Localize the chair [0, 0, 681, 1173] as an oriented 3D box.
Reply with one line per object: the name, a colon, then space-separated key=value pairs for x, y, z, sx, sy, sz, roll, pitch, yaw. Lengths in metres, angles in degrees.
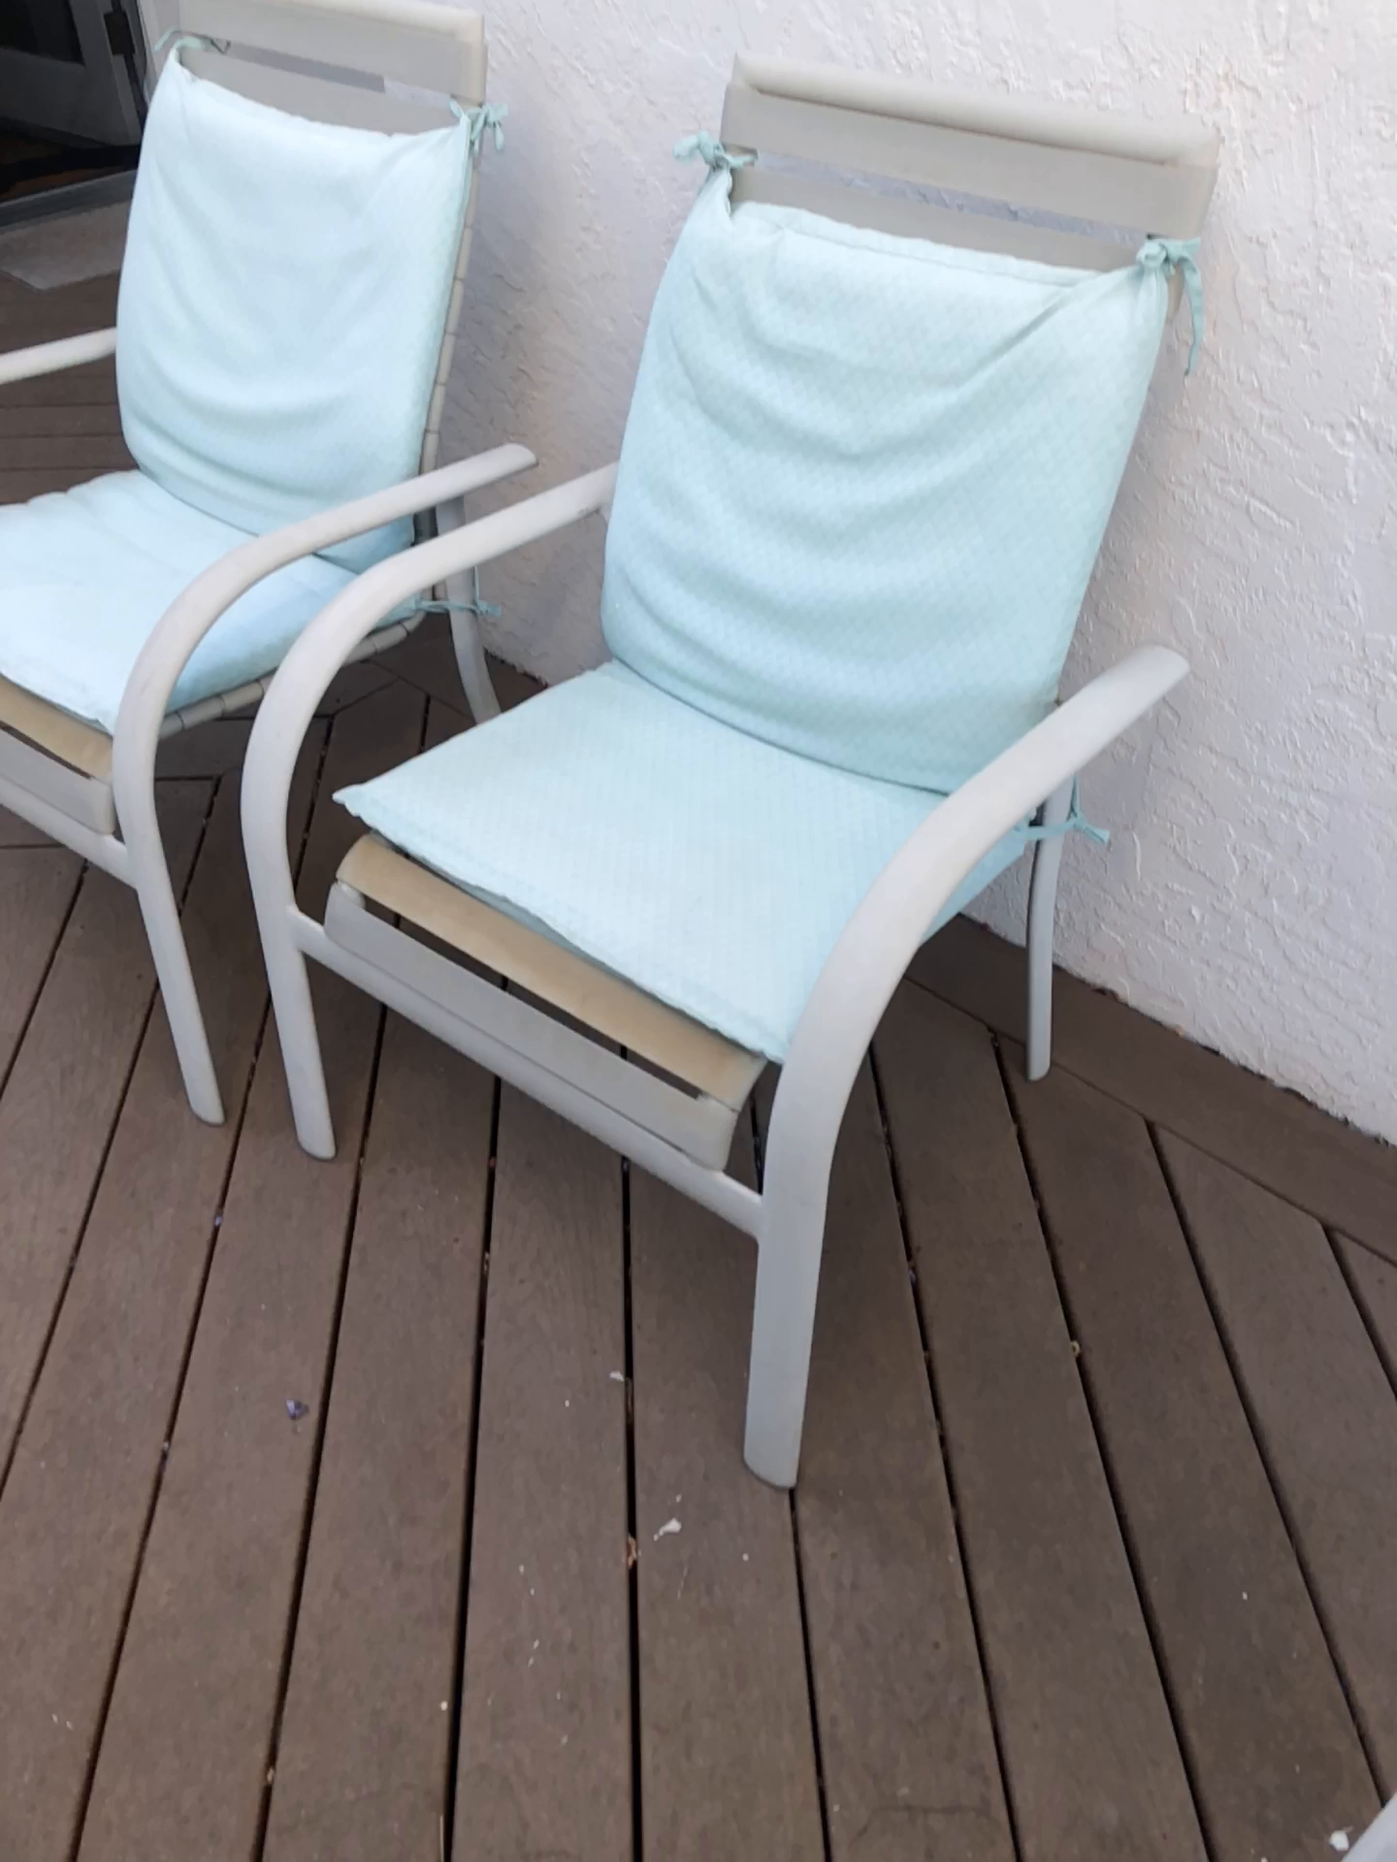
chair: x=-0.552 y=-0.448 z=1.721 sx=0.701 sy=0.965 sz=0.783 roll=28 pitch=50 yaw=29

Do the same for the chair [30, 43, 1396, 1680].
chair: x=0.103 y=-0.089 z=1.626 sx=0.842 sy=1.273 sz=0.873 roll=28 pitch=50 yaw=29
